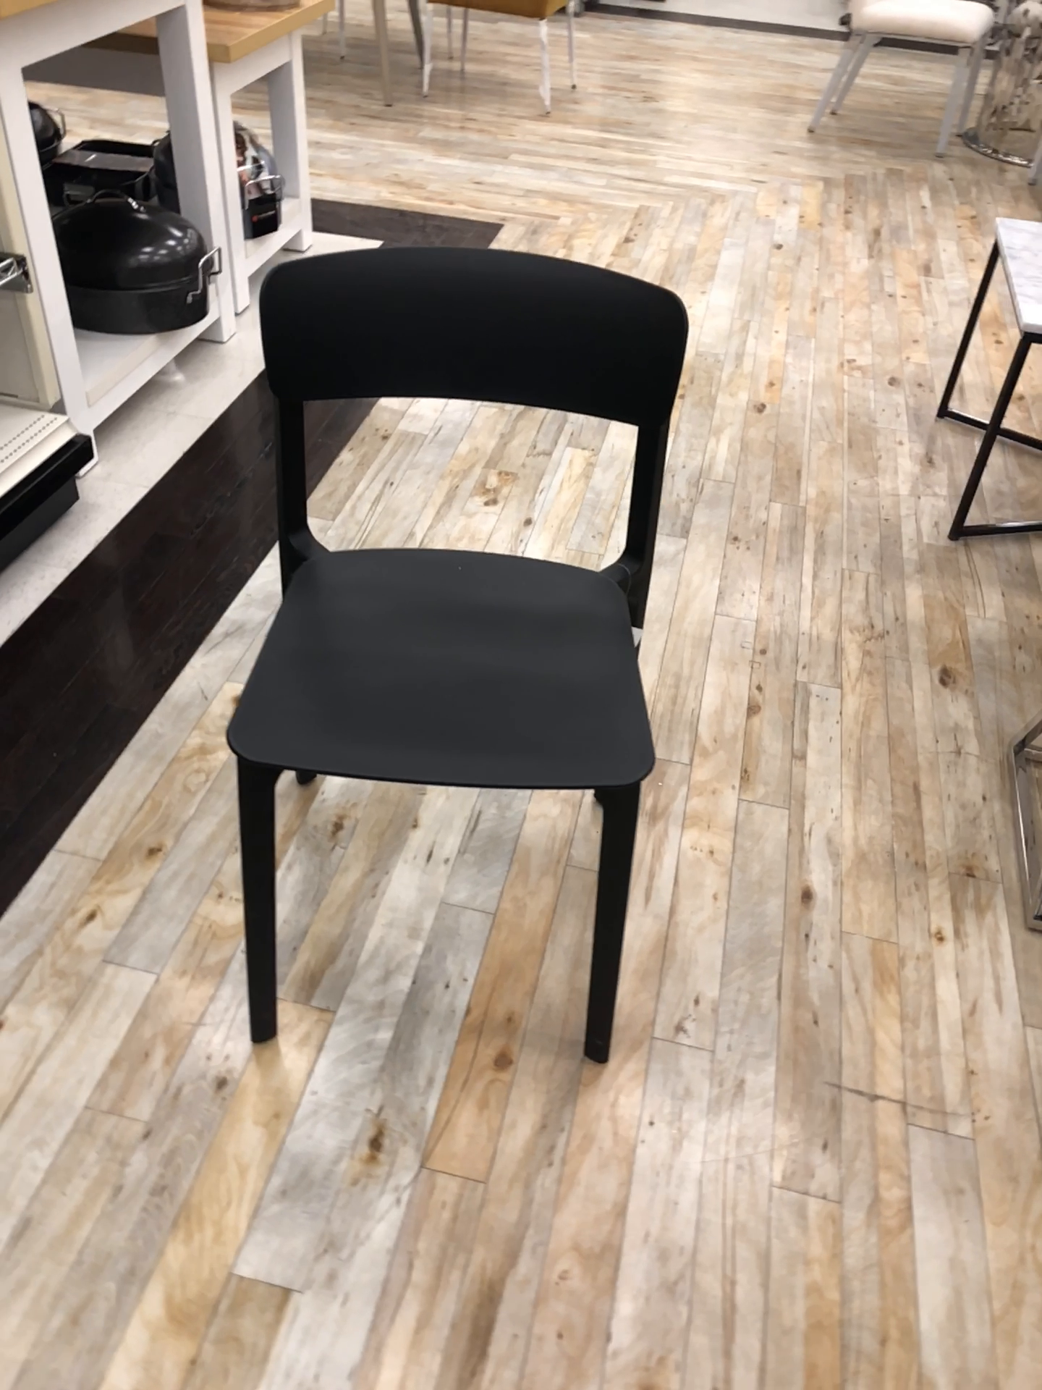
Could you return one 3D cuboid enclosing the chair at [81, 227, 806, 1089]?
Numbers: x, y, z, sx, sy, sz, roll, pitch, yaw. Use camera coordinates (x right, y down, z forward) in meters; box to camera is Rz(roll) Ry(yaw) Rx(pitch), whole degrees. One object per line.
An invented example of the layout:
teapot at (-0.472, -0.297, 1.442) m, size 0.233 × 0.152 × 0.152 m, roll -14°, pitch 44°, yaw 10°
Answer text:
chair at (-0.068, -0.031, 1.221) m, size 0.500 × 0.707 × 0.542 m, roll 3°, pitch 40°, yaw -1°
